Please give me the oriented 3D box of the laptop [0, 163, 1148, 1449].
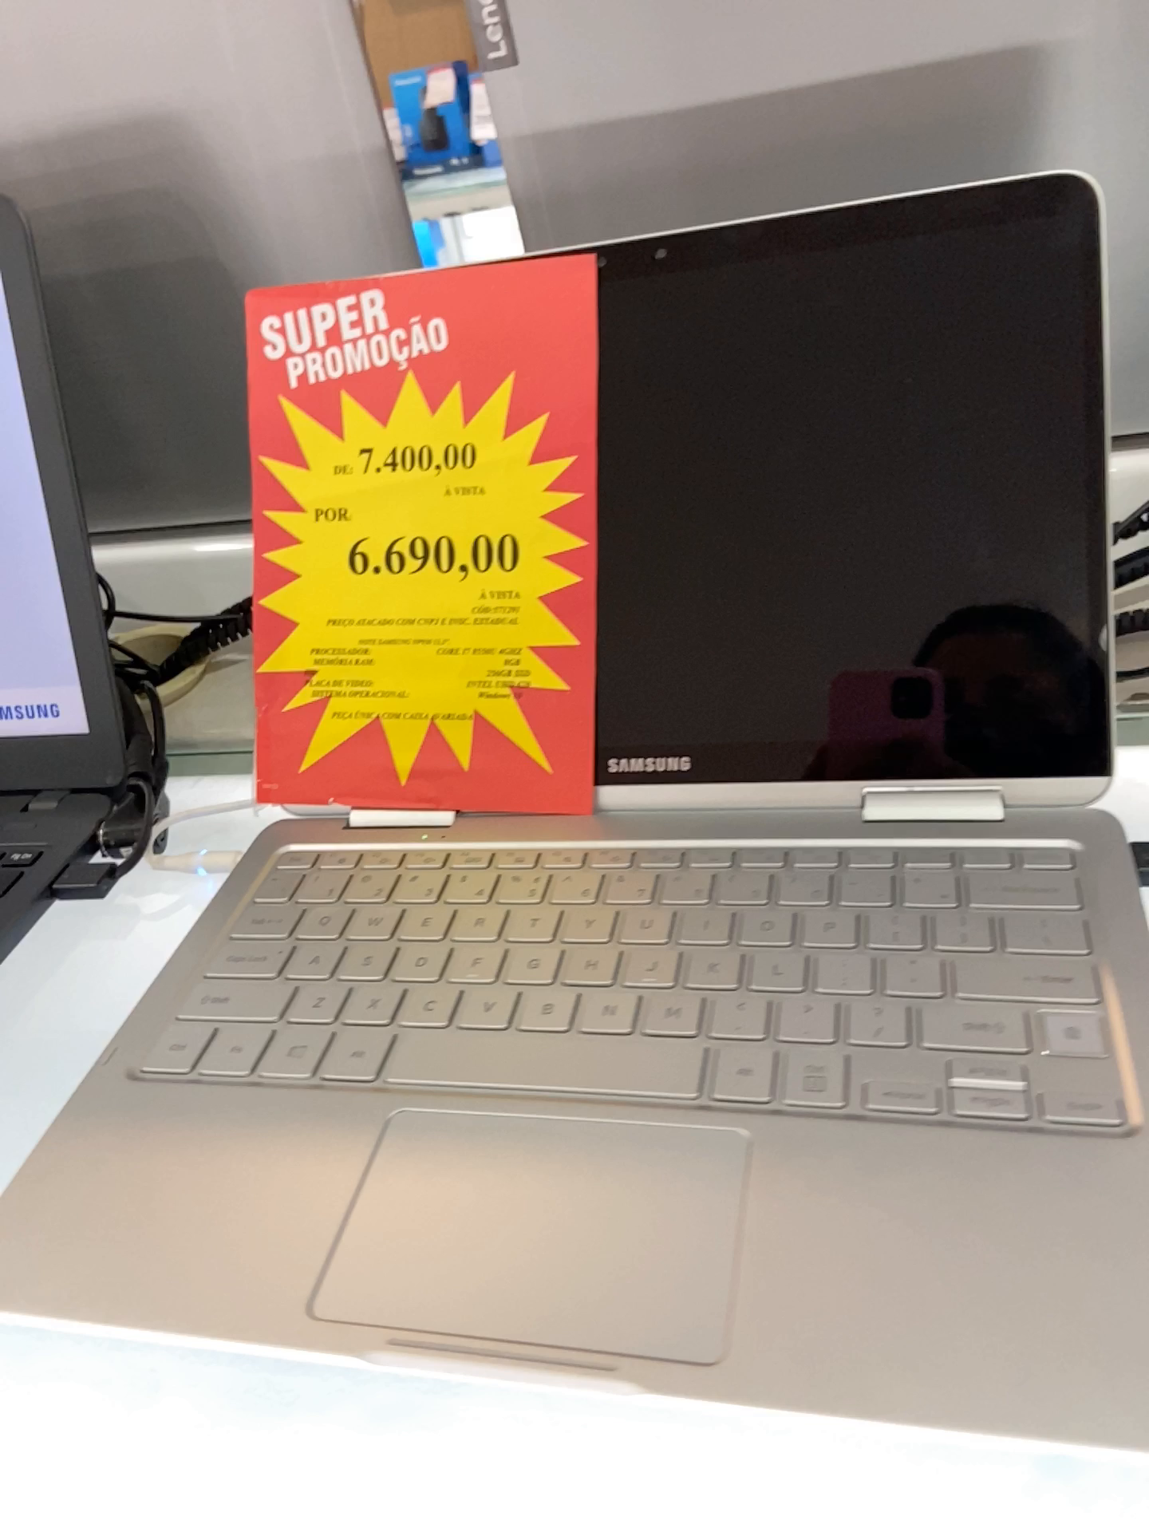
[{"bbox_3d":[0.001,-0.028,0.341,0.305,0.170,0.312,-2,34,17],"label":"laptop"}]
